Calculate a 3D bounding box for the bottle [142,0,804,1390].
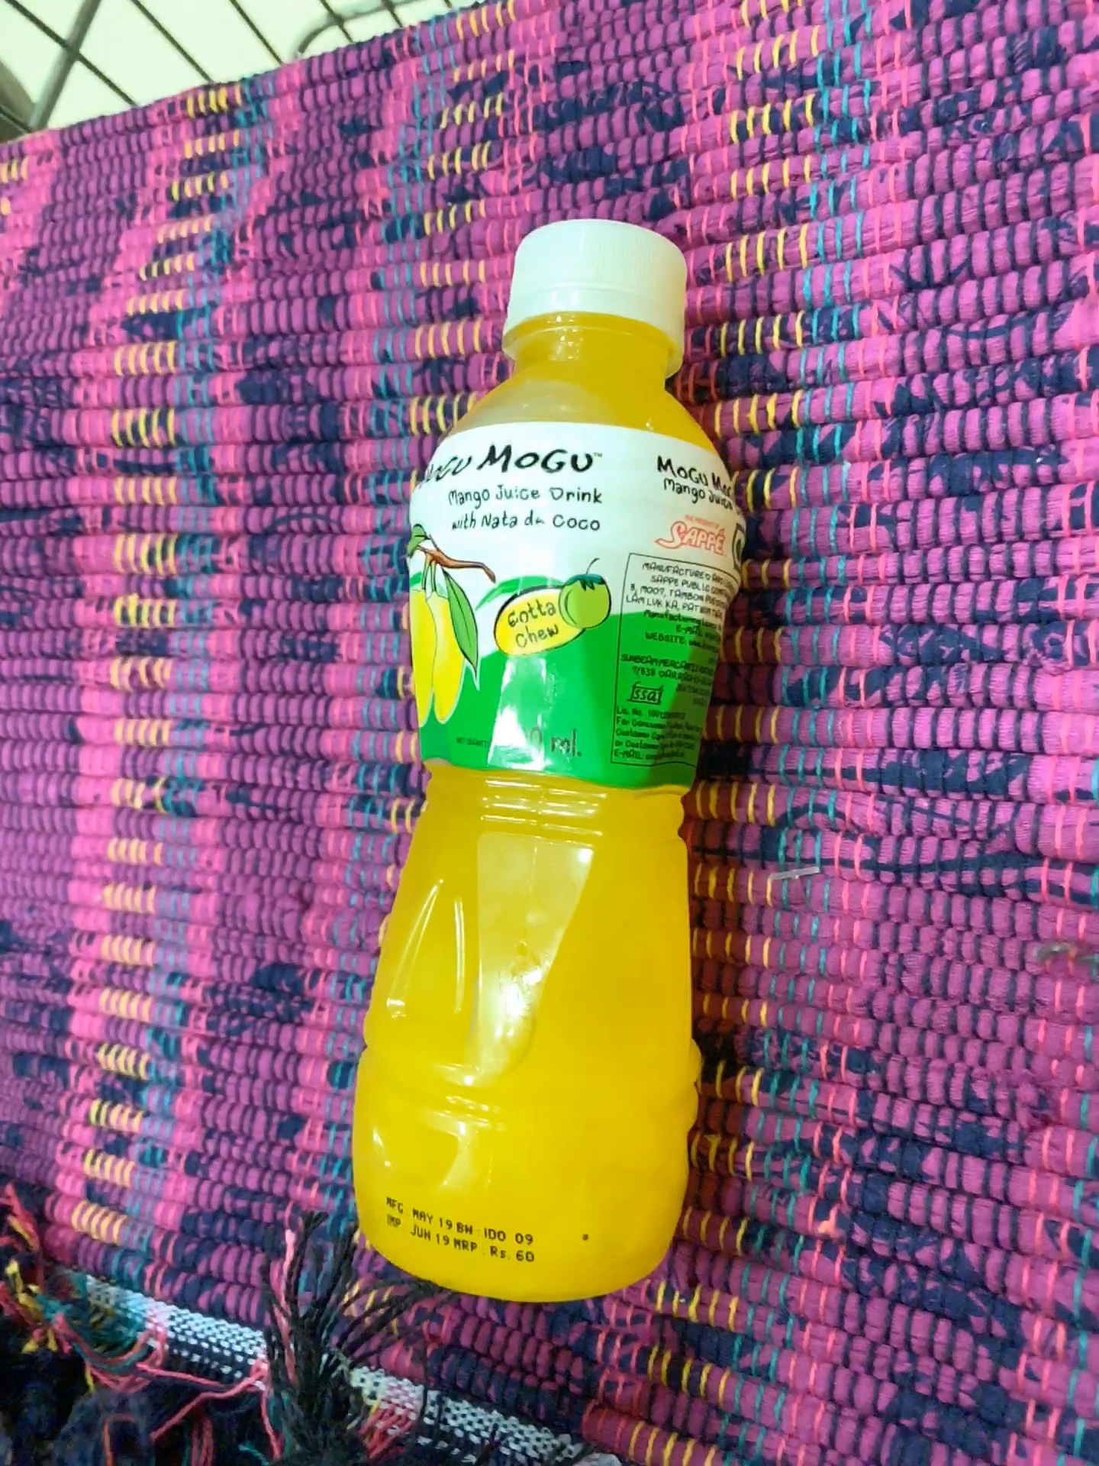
[{"bbox_3d":[-0.006,-0.006,0.171,0.060,0.060,0.160,4,86,27],"label":"bottle"}]
